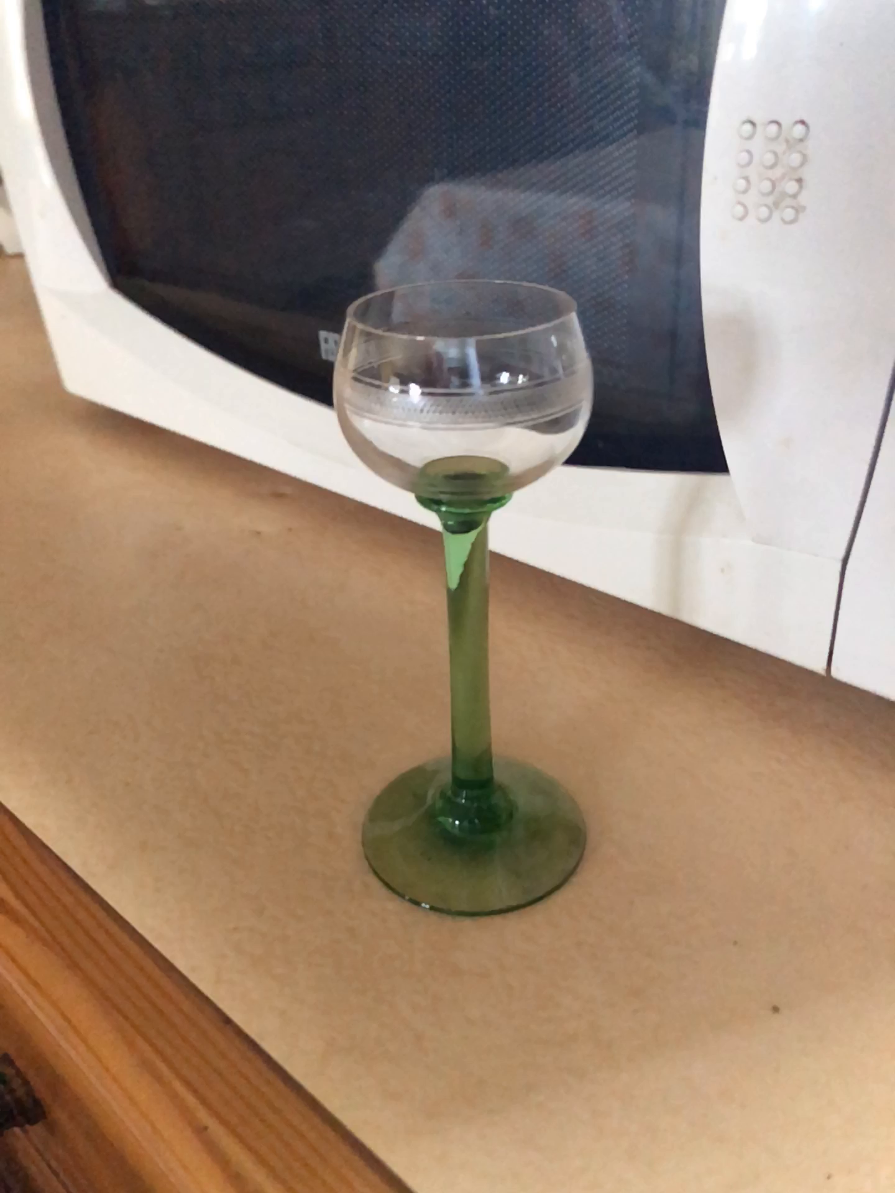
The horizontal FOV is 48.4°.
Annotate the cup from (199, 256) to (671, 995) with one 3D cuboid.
[{"bbox_3d":[0.002,0.005,0.206,0.060,0.129,0.060,-2,31,1],"label":"cup"}]
